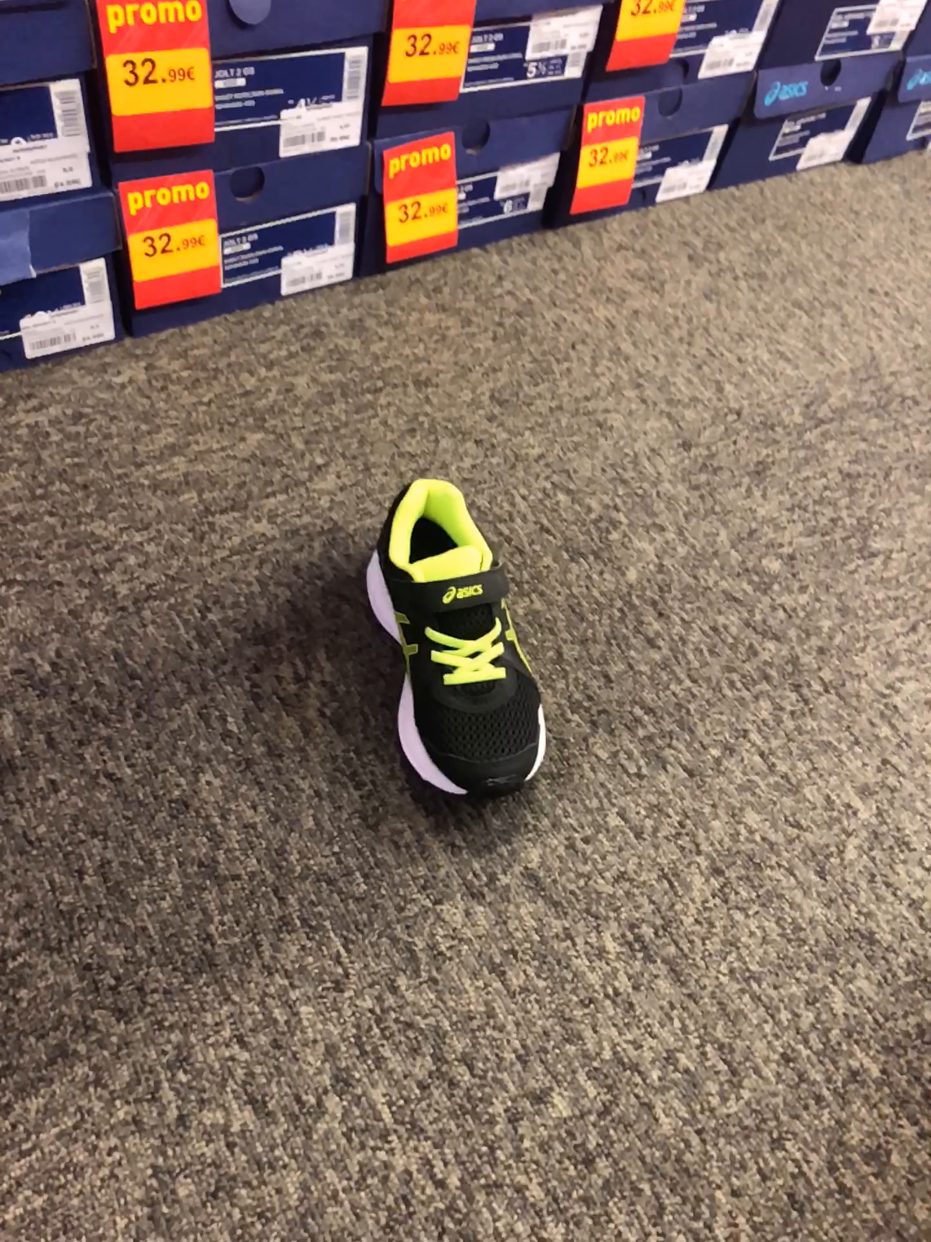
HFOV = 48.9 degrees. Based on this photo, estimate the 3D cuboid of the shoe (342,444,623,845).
[{"bbox_3d":[-0.001,0.006,0.561,0.090,0.080,0.201,-8,55,-16],"label":"shoe"}]
